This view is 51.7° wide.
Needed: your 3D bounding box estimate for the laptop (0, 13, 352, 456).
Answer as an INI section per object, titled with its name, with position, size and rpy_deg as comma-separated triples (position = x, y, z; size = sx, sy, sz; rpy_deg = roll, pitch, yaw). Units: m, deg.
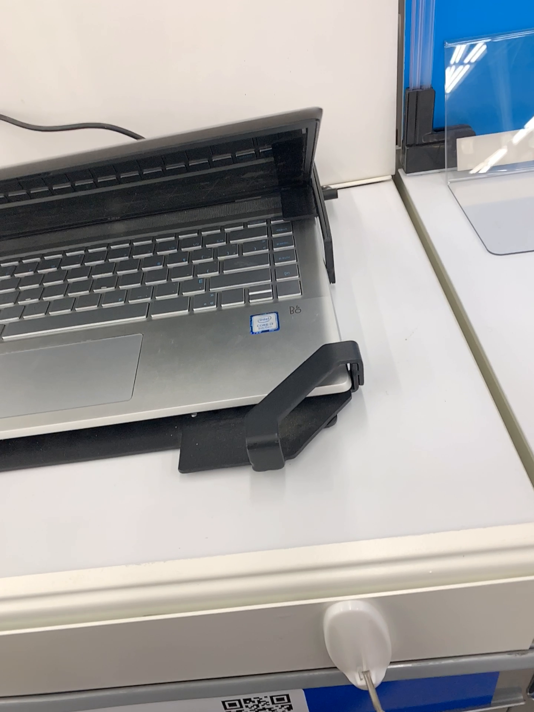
[laptop]
position = -0.114, -0.073, 0.307
size = 0.283, 0.111, 0.194
rpy_deg = -8, 43, 7
